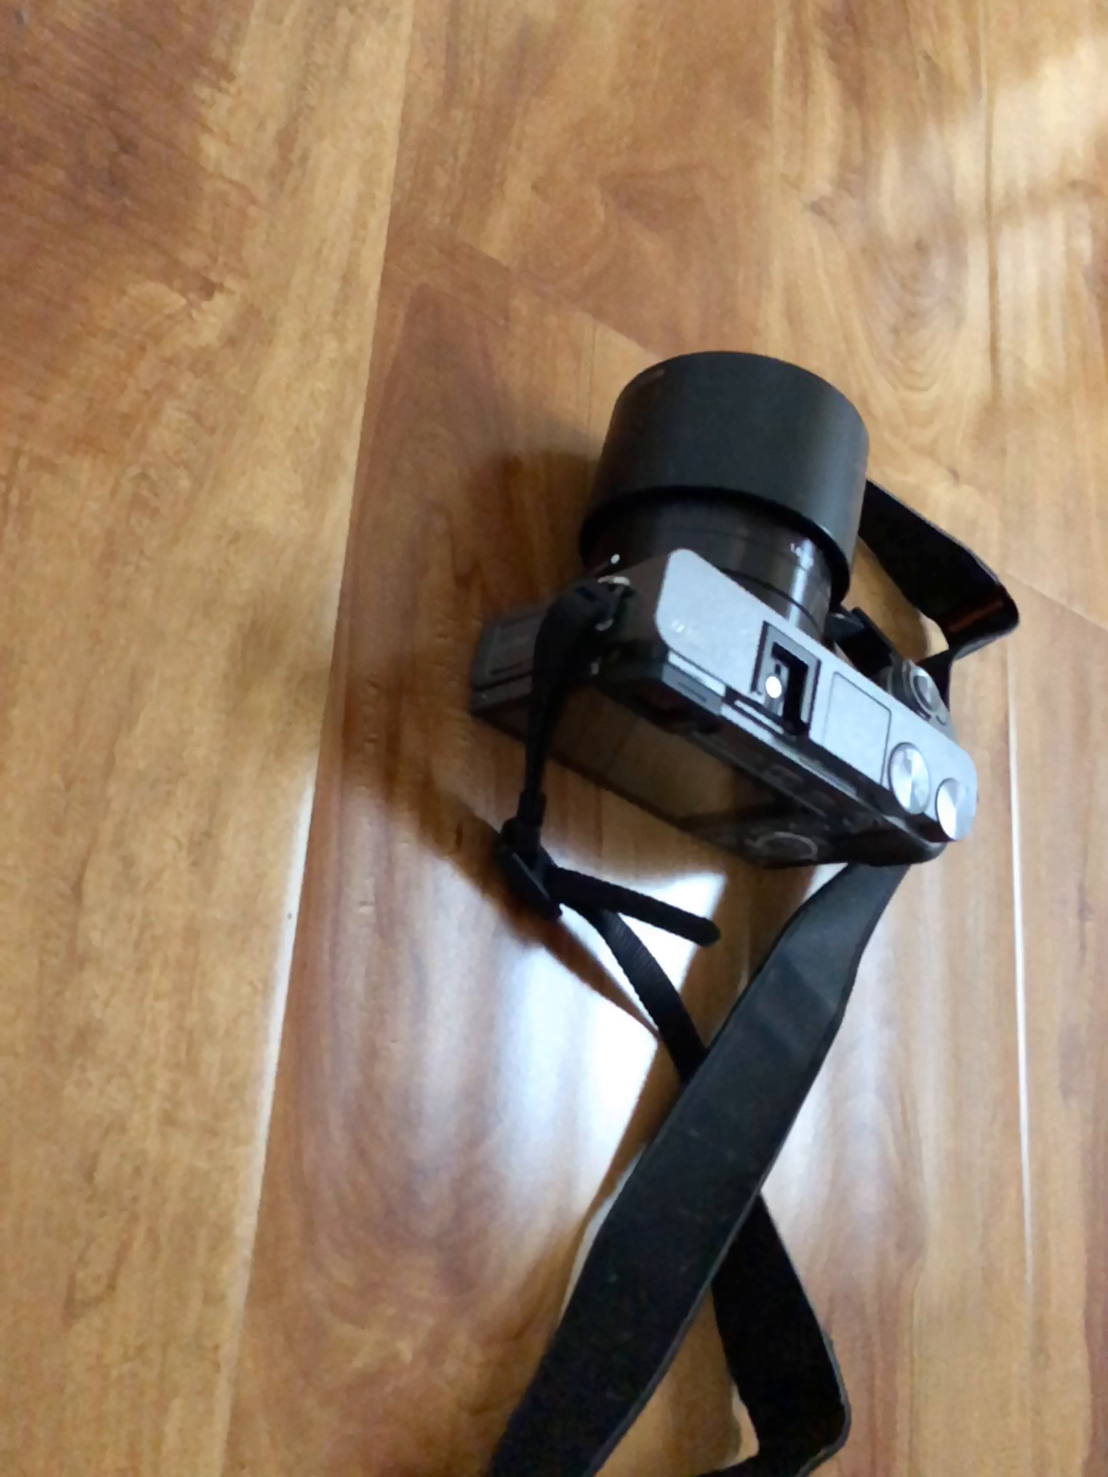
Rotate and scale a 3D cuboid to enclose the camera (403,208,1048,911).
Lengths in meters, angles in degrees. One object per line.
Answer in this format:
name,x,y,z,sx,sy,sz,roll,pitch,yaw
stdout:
camera,0.053,-0.034,0.319,0.140,0.080,0.110,29,61,-33
